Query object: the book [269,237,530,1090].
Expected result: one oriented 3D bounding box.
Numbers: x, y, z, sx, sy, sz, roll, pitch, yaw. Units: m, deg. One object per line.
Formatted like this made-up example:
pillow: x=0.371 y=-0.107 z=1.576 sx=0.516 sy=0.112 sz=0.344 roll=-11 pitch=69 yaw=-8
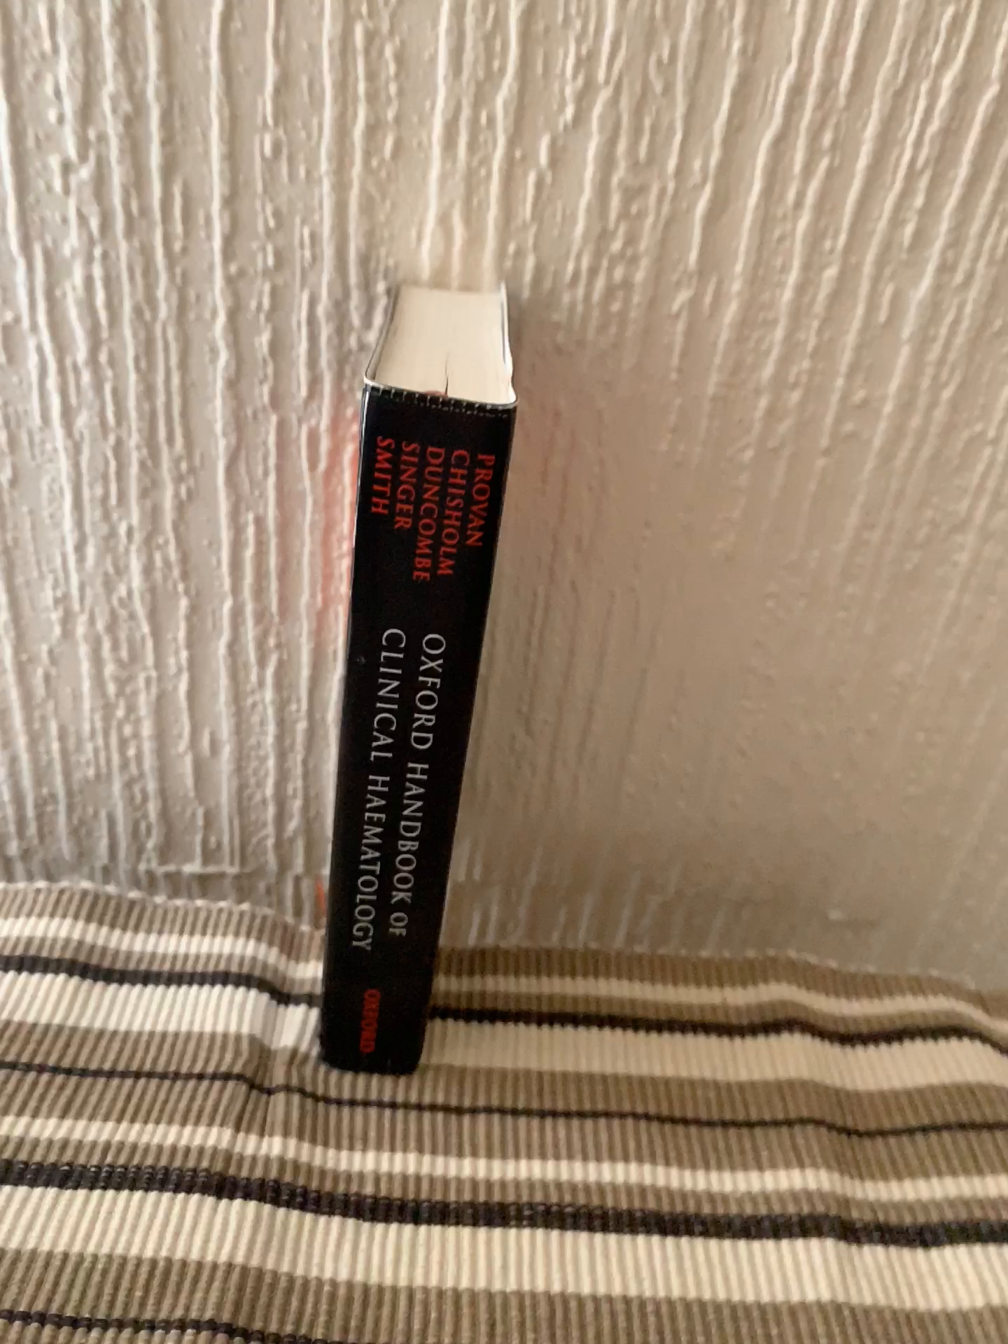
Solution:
book: x=-0.033 y=-0.002 z=0.280 sx=0.040 sy=0.188 sz=0.121 roll=5 pitch=32 yaw=-8
